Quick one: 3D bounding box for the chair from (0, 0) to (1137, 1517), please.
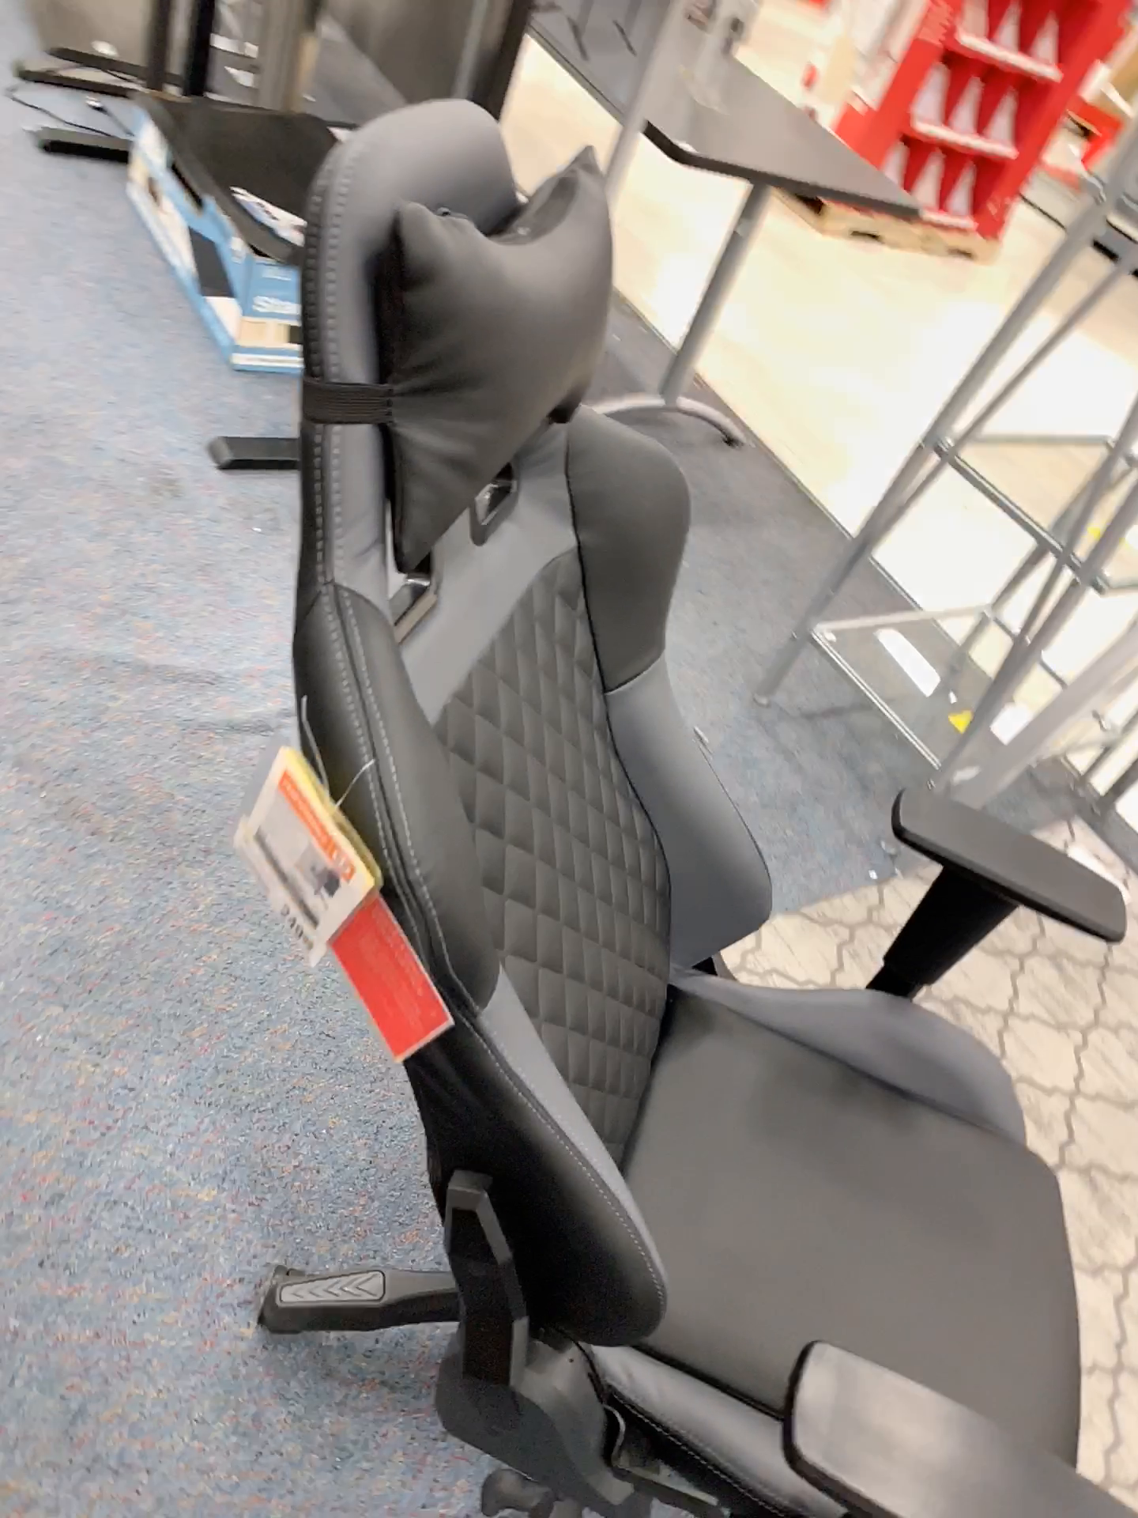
[{"bbox_3d":[0.132,0.187,0.943,0.911,1.062,0.789,27,40,0],"label":"chair"}]
